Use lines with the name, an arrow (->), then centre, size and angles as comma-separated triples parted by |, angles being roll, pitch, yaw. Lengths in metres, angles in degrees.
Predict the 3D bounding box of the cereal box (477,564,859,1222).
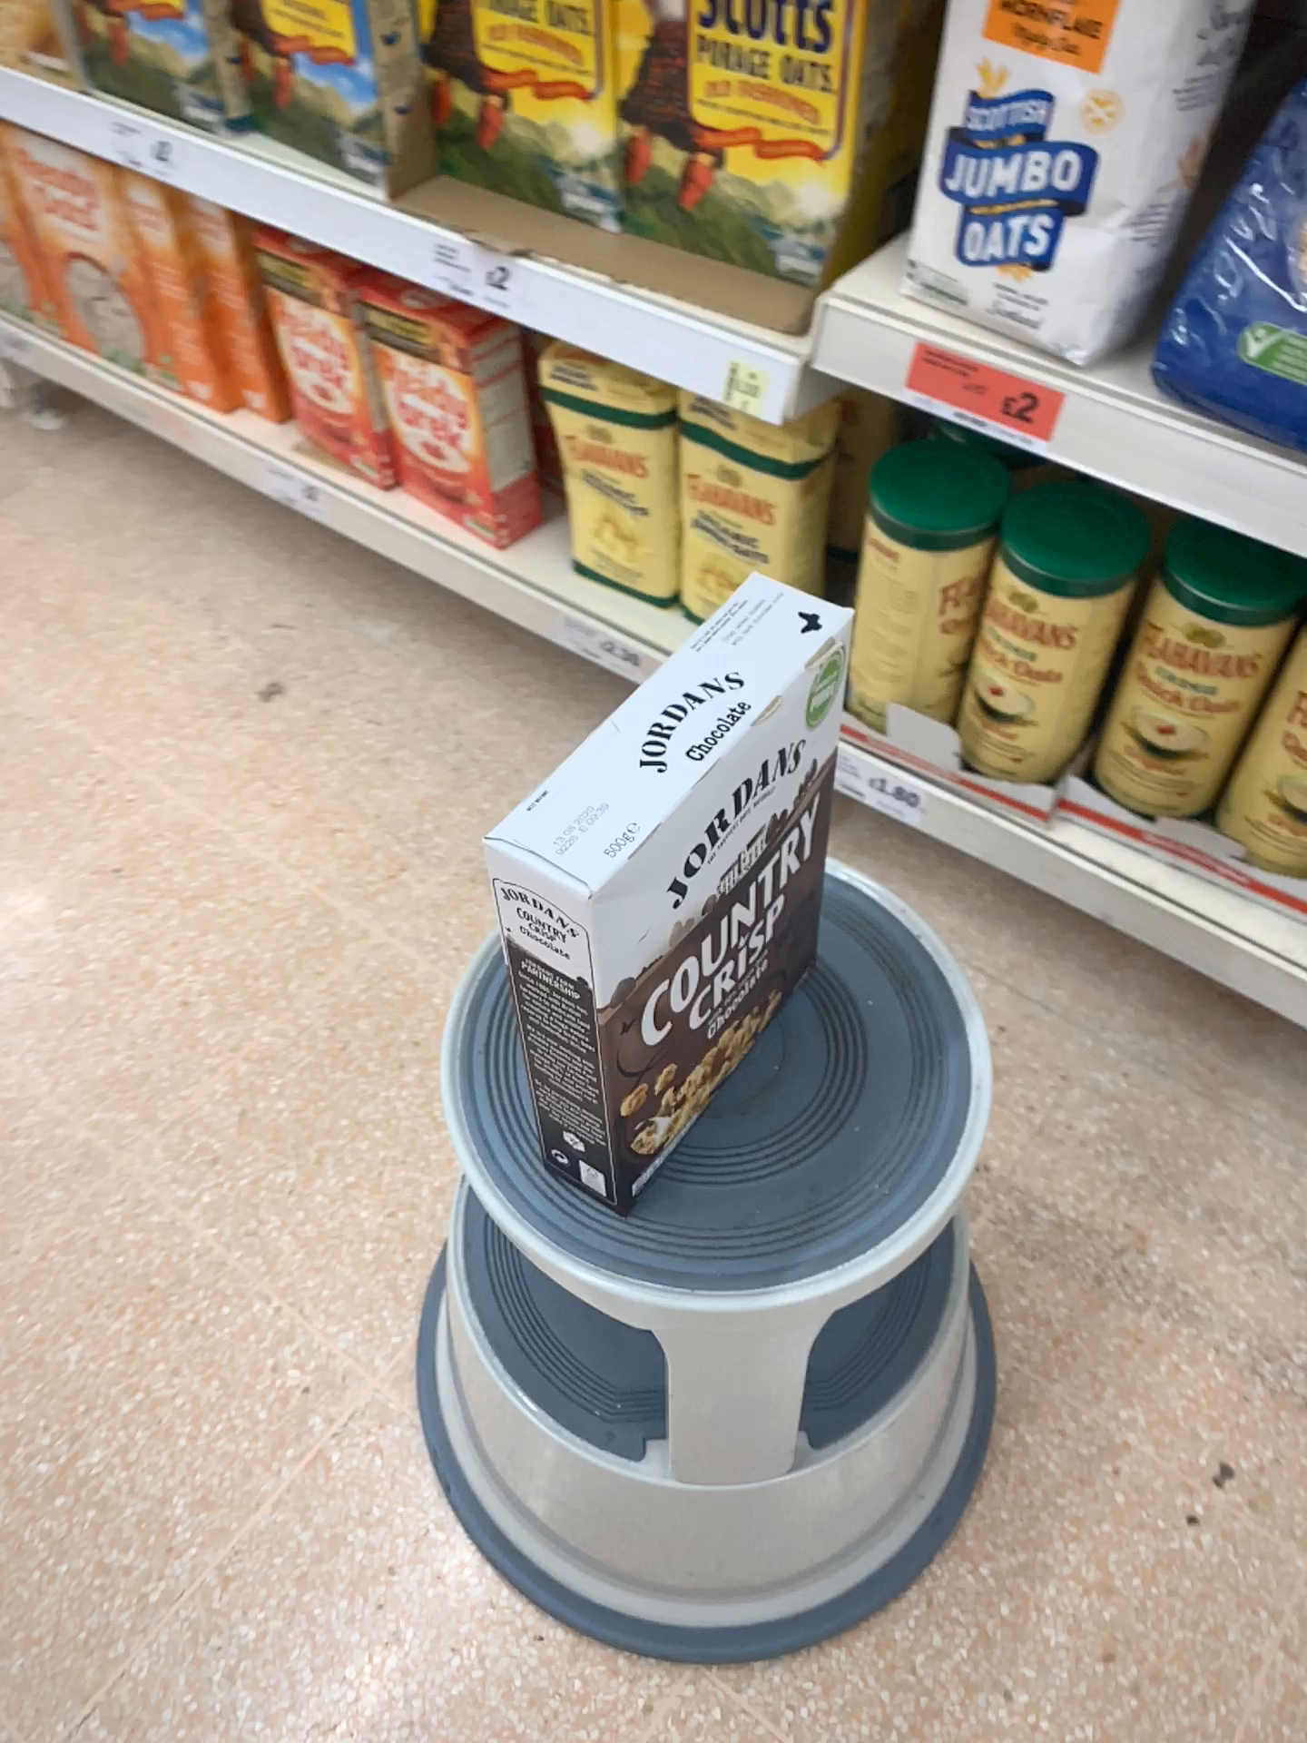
cereal box -> 0.011, 0.019, 0.598 | 0.050, 0.248, 0.181 | 28, 56, 21
